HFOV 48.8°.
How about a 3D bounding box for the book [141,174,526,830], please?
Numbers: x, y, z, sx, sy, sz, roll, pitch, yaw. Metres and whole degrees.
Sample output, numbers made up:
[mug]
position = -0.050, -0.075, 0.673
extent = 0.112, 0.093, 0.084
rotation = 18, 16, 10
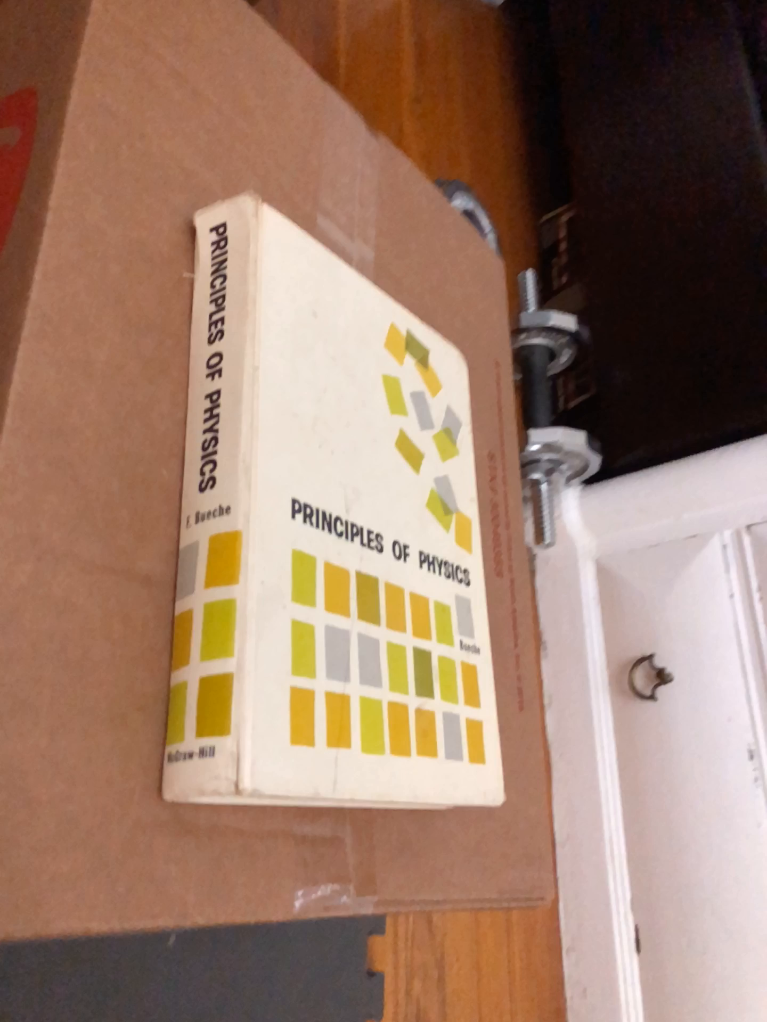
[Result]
[book]
position = -0.010, 0.007, 0.377
extent = 0.181, 0.040, 0.250
rotation = 25, 56, -47
